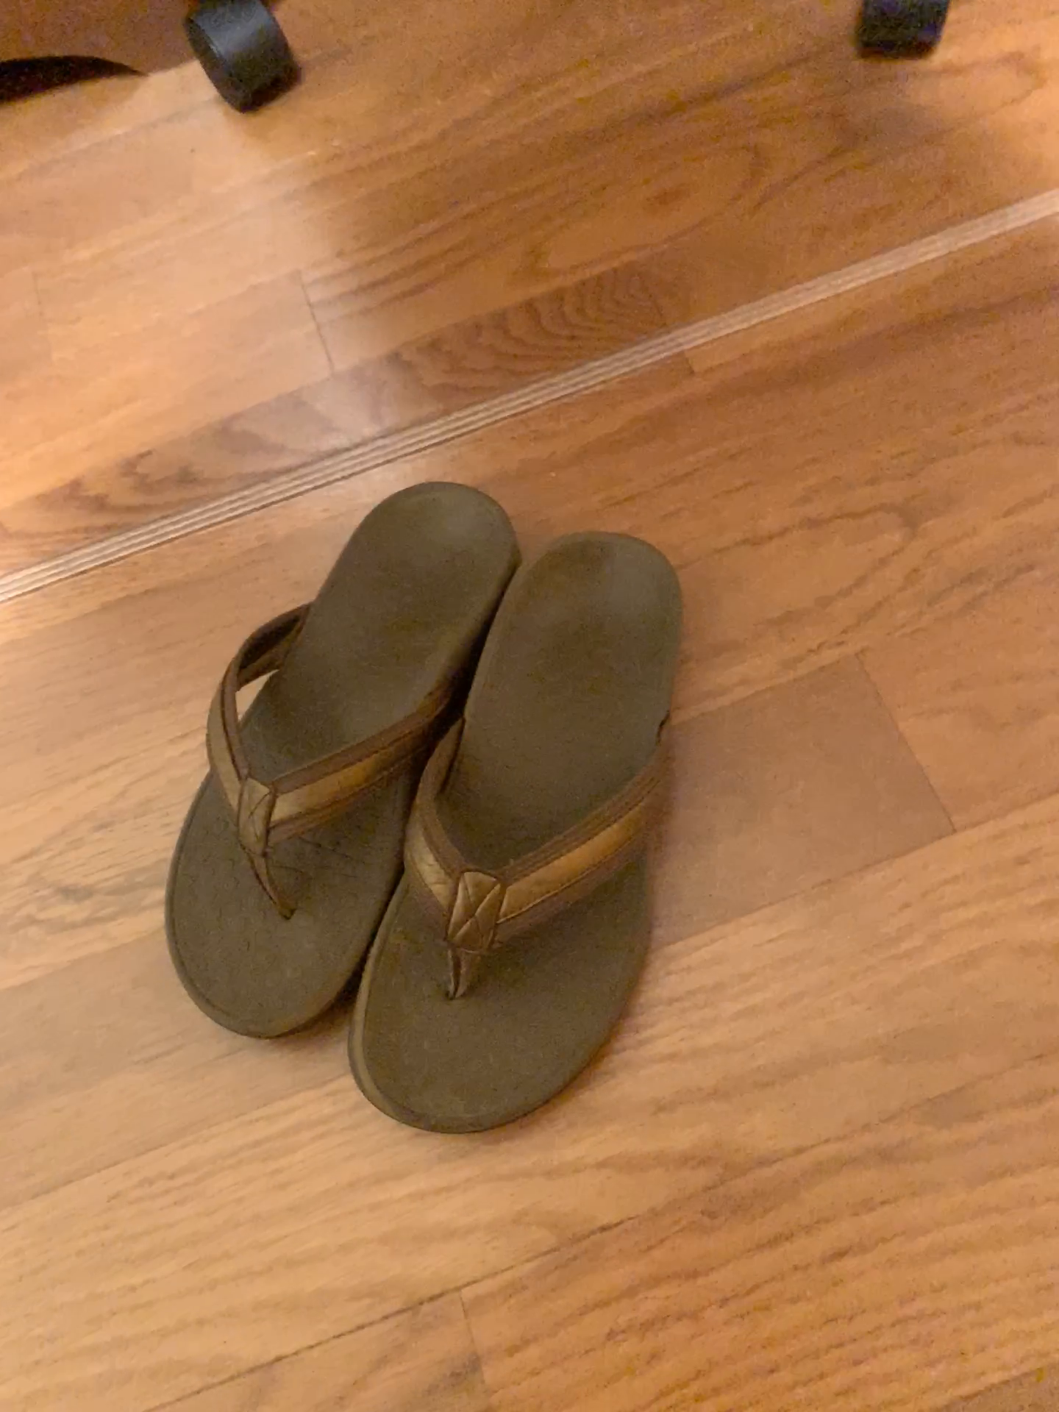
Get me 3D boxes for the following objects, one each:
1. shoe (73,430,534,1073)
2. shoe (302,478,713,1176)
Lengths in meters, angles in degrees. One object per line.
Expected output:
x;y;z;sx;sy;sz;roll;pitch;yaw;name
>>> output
-0.082;0.009;0.449;0.091;0.049;0.251;12;69;15;shoe
0.003;0.037;0.416;0.099;0.061;0.247;7;67;13;shoe
